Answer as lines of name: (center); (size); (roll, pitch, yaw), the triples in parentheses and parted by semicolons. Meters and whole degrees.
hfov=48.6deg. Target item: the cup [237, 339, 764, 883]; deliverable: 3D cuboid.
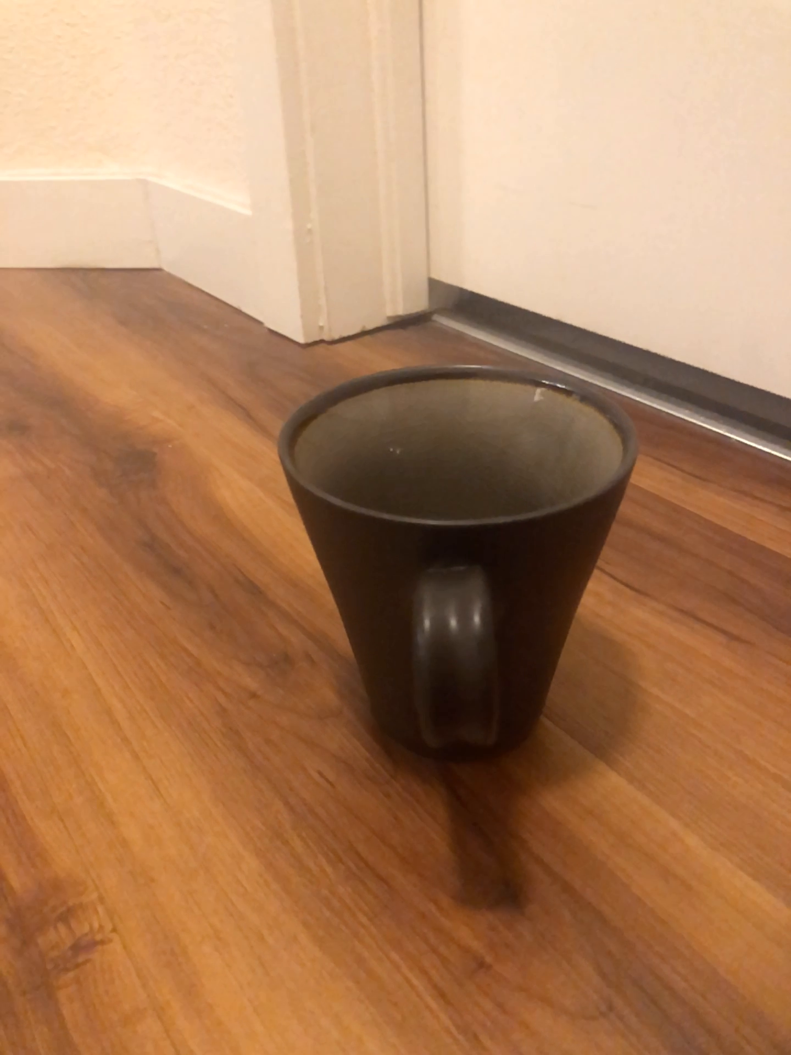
cup: (0.027, 0.015, 0.282); (0.114, 0.100, 0.155); (-1, 31, 3)
